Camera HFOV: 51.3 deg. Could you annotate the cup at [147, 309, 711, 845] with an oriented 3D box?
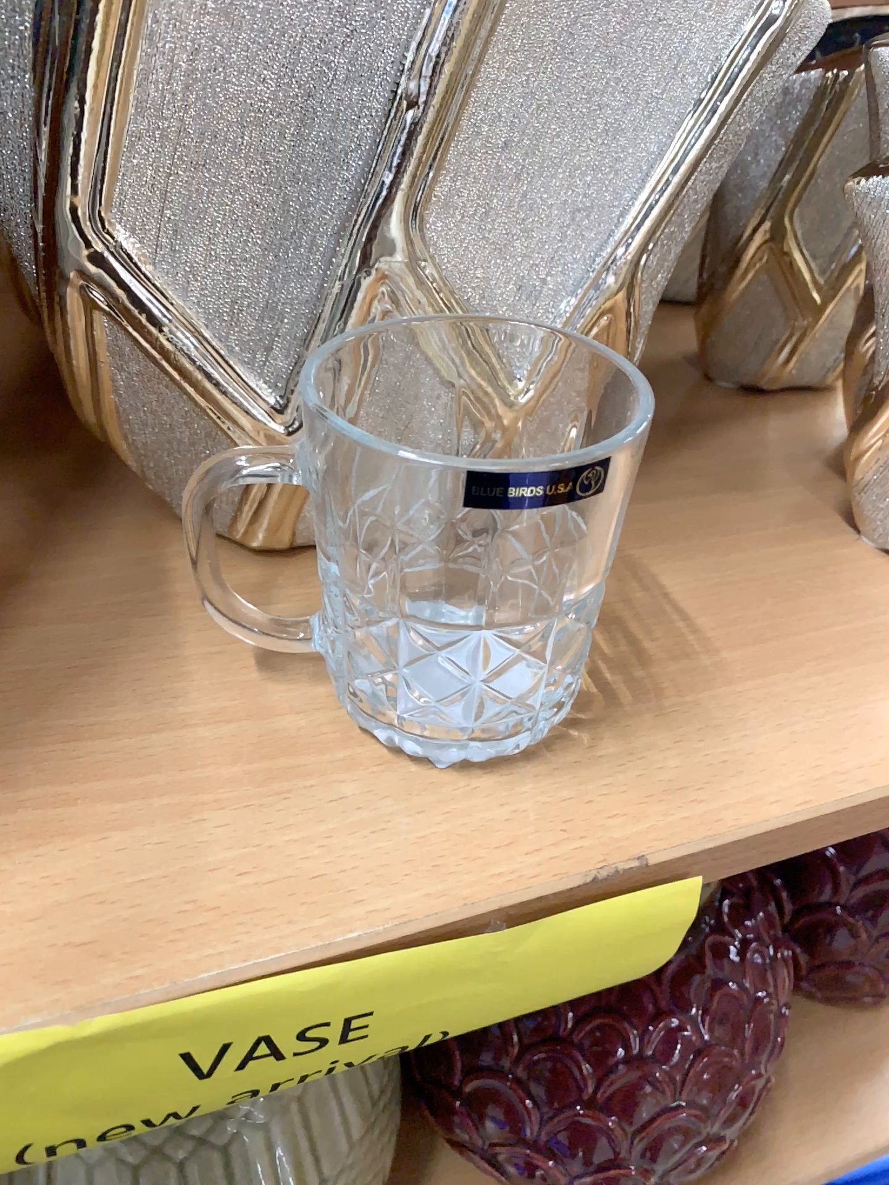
[{"bbox_3d":[-0.010,-0.008,0.214,0.100,0.090,0.070,-7,37,-15],"label":"cup"}]
